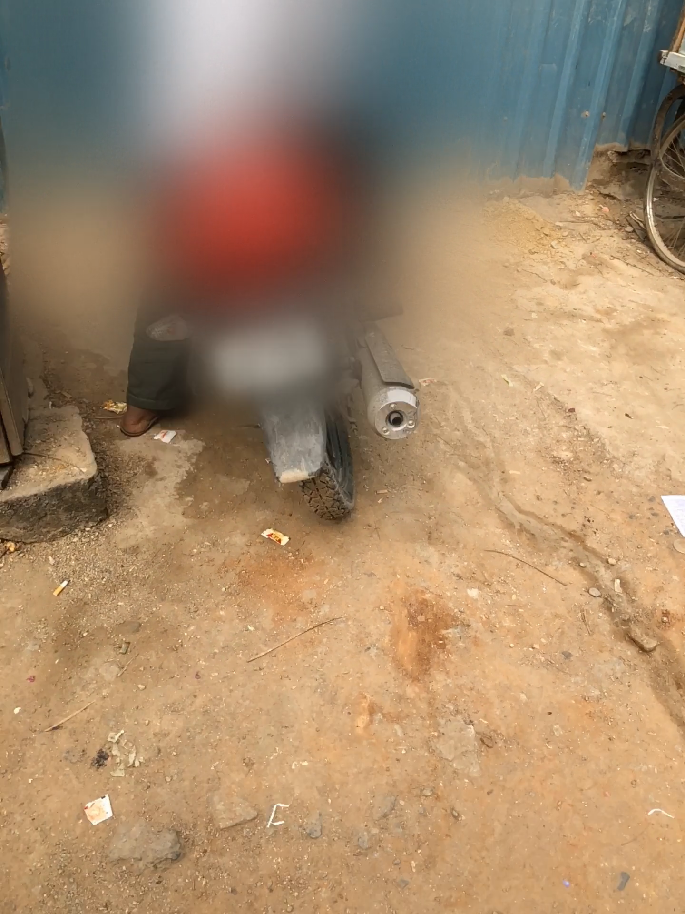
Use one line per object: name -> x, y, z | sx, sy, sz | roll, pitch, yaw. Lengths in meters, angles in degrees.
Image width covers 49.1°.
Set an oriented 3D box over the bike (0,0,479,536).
bike -> -0.333, -0.863, 1.969 | 0.735, 1.129, 1.640 | -2, 41, -10
